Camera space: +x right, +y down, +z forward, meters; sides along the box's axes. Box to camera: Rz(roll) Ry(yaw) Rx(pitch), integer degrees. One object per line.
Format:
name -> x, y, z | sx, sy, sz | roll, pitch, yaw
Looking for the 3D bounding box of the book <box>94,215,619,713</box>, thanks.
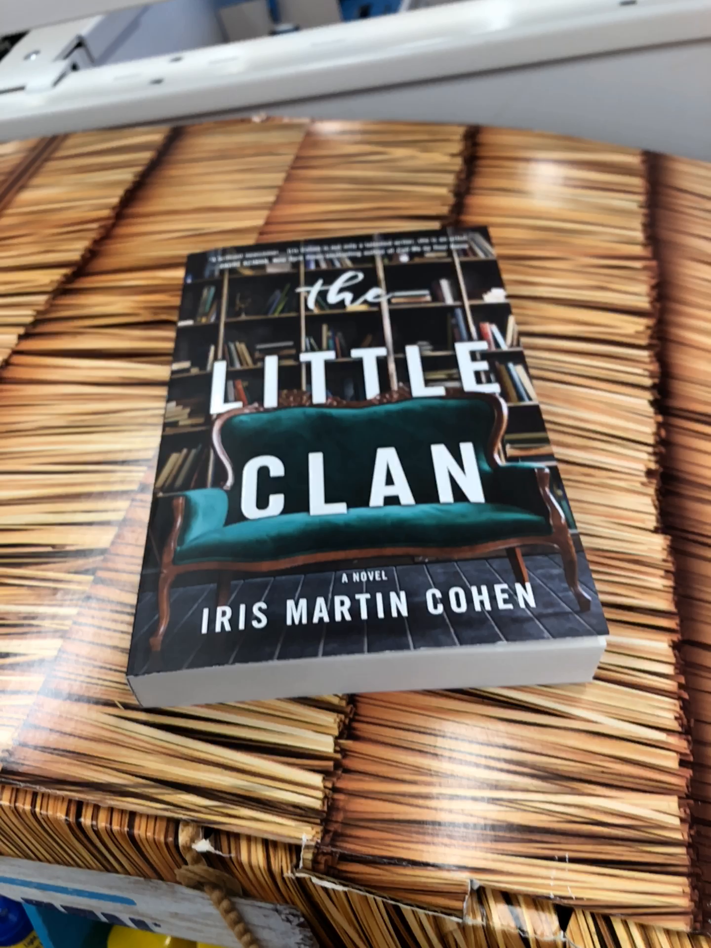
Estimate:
book -> -0.003, -0.019, 0.273 | 0.130, 0.030, 0.191 | -5, 48, 2
